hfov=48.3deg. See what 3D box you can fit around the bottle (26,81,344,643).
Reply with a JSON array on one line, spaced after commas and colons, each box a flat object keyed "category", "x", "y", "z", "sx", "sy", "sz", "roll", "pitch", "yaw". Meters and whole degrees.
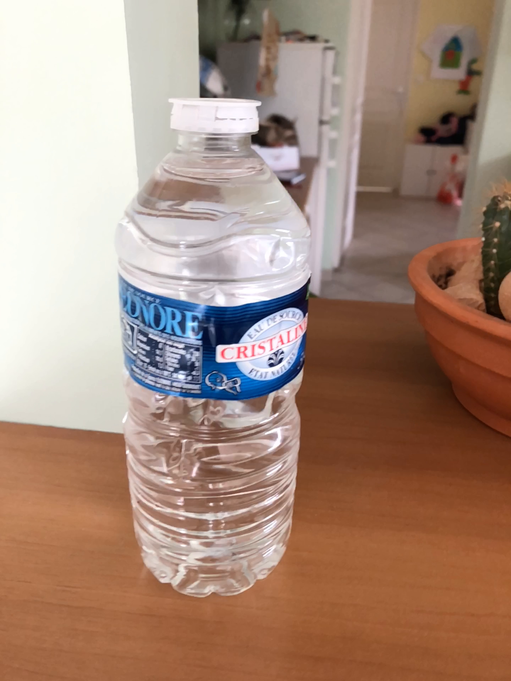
[{"category": "bottle", "x": -0.023, "y": 0.006, "z": 0.217, "sx": 0.070, "sy": 0.189, "sz": 0.070, "roll": 1, "pitch": 25, "yaw": 0}]
